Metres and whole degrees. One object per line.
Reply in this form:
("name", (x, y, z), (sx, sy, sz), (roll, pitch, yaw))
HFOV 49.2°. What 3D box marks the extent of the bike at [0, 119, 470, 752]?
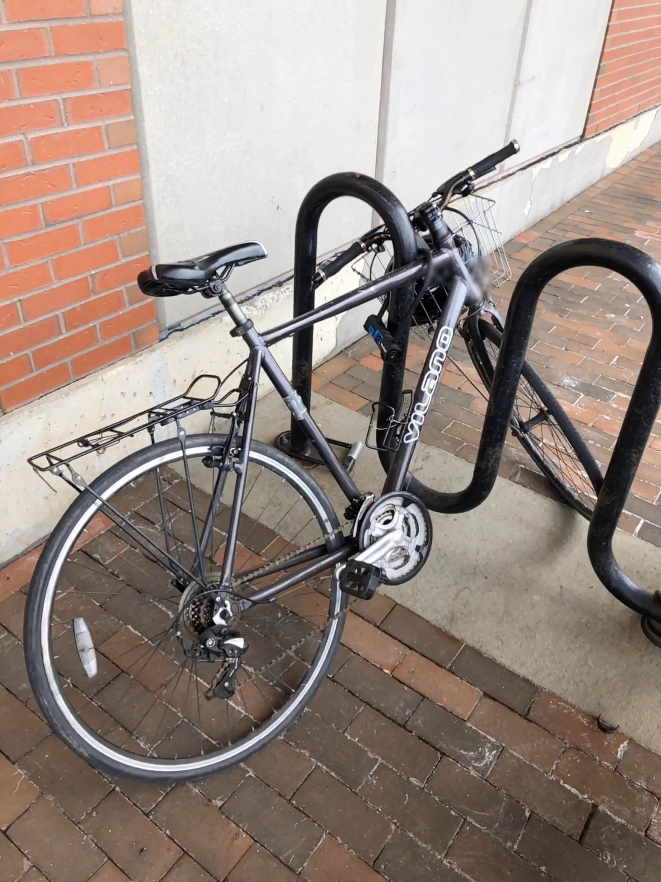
("bike", (-0.331, -0.227, 1.769), (0.744, 0.734, 1.422), (26, 40, 28))
